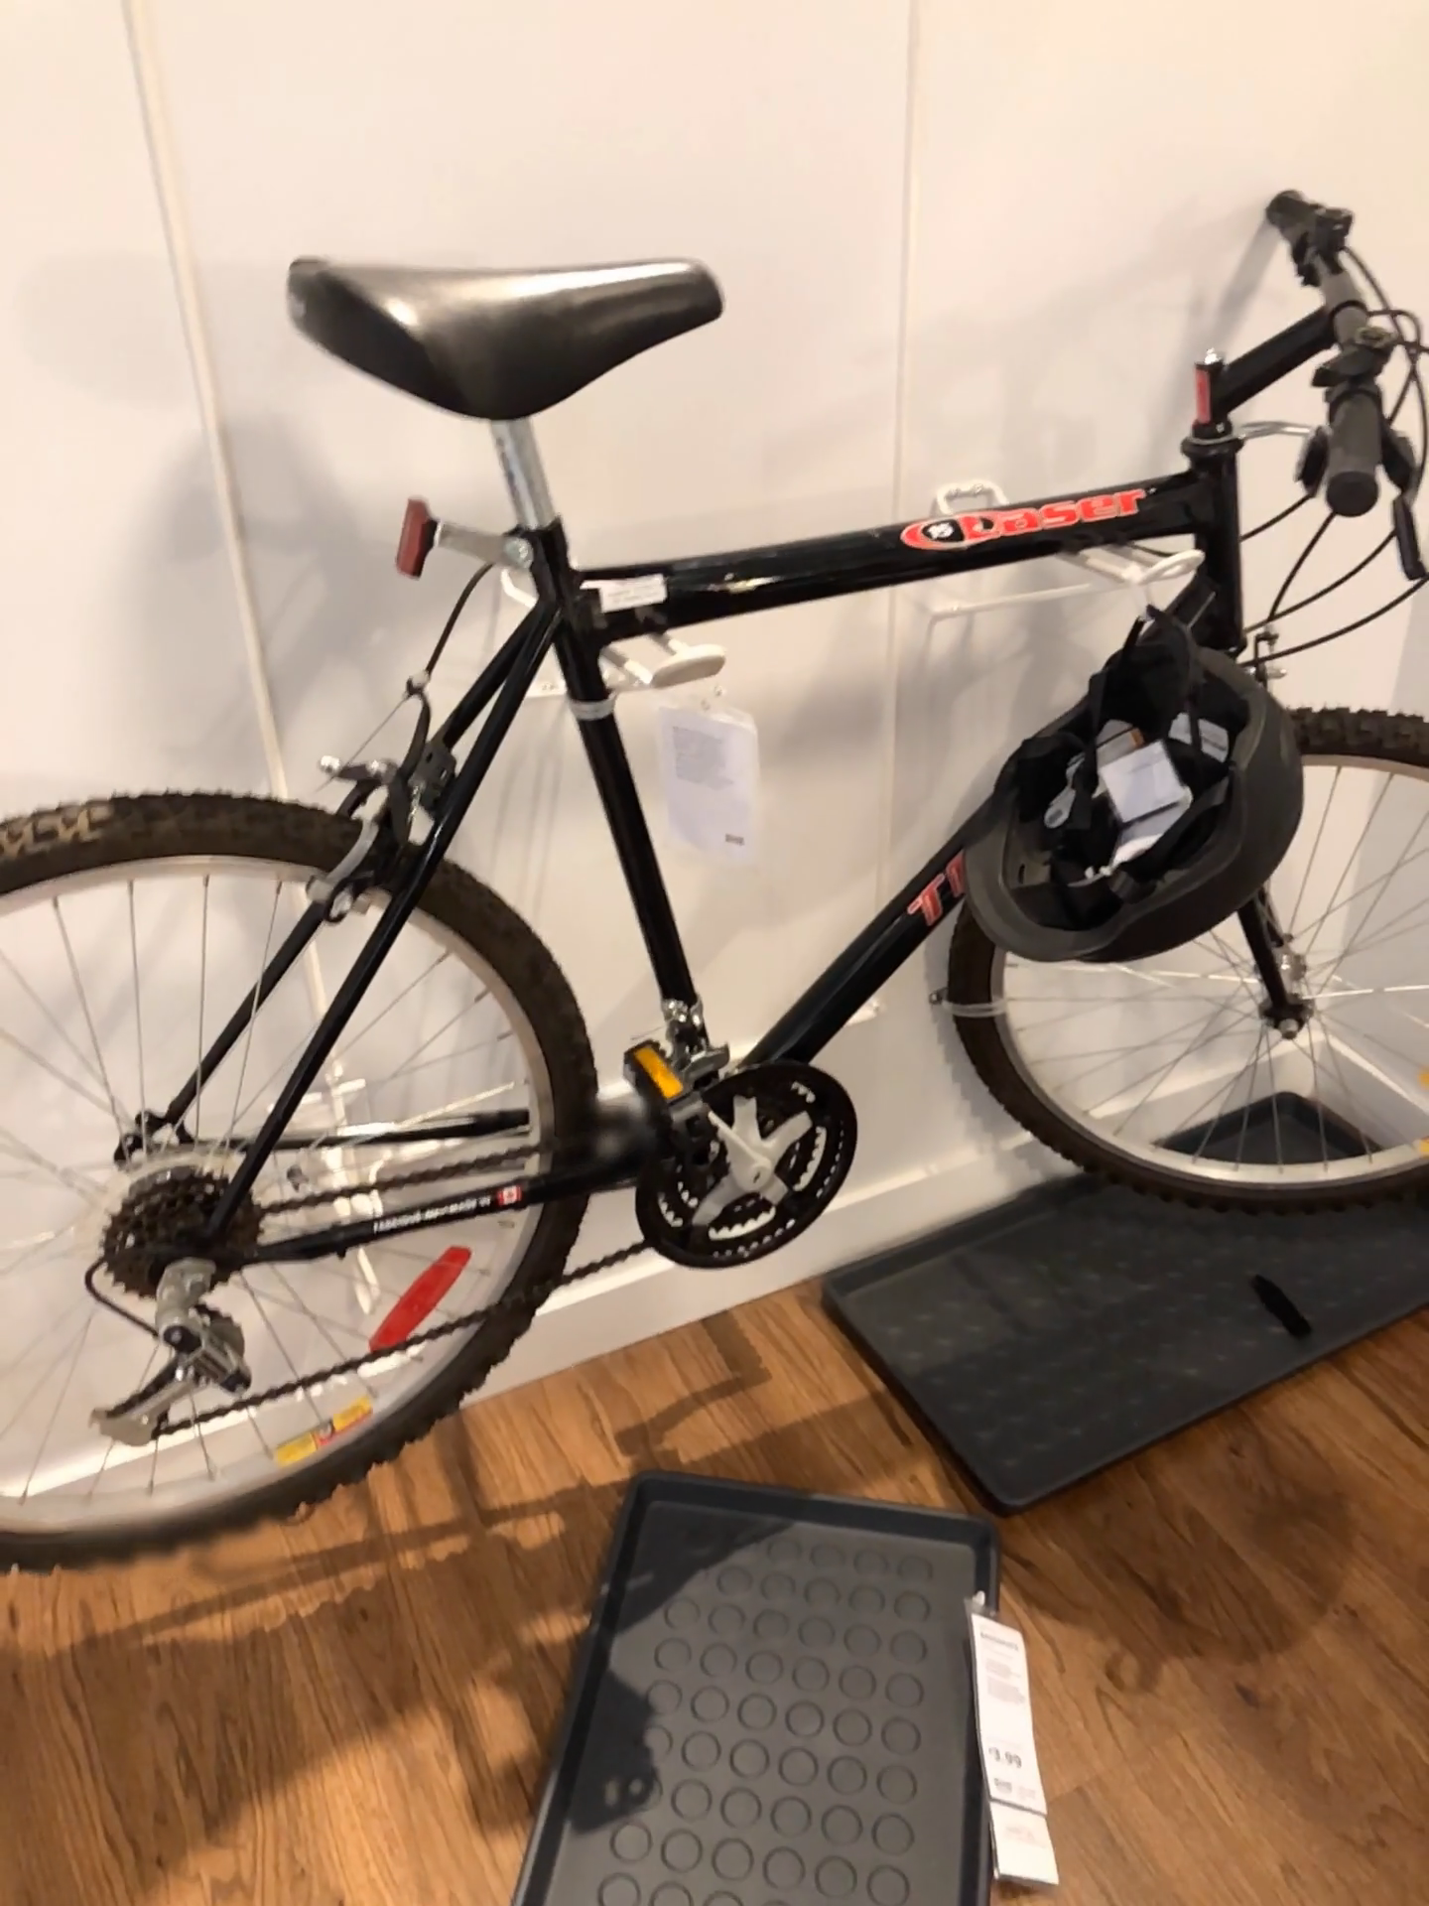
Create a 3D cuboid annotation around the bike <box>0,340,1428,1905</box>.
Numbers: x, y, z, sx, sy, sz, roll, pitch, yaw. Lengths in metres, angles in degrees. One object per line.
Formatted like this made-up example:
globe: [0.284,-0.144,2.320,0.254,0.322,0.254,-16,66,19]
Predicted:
bike: [0.079,0.052,1.222,1.566,0.845,0.561,-7,31,-19]
